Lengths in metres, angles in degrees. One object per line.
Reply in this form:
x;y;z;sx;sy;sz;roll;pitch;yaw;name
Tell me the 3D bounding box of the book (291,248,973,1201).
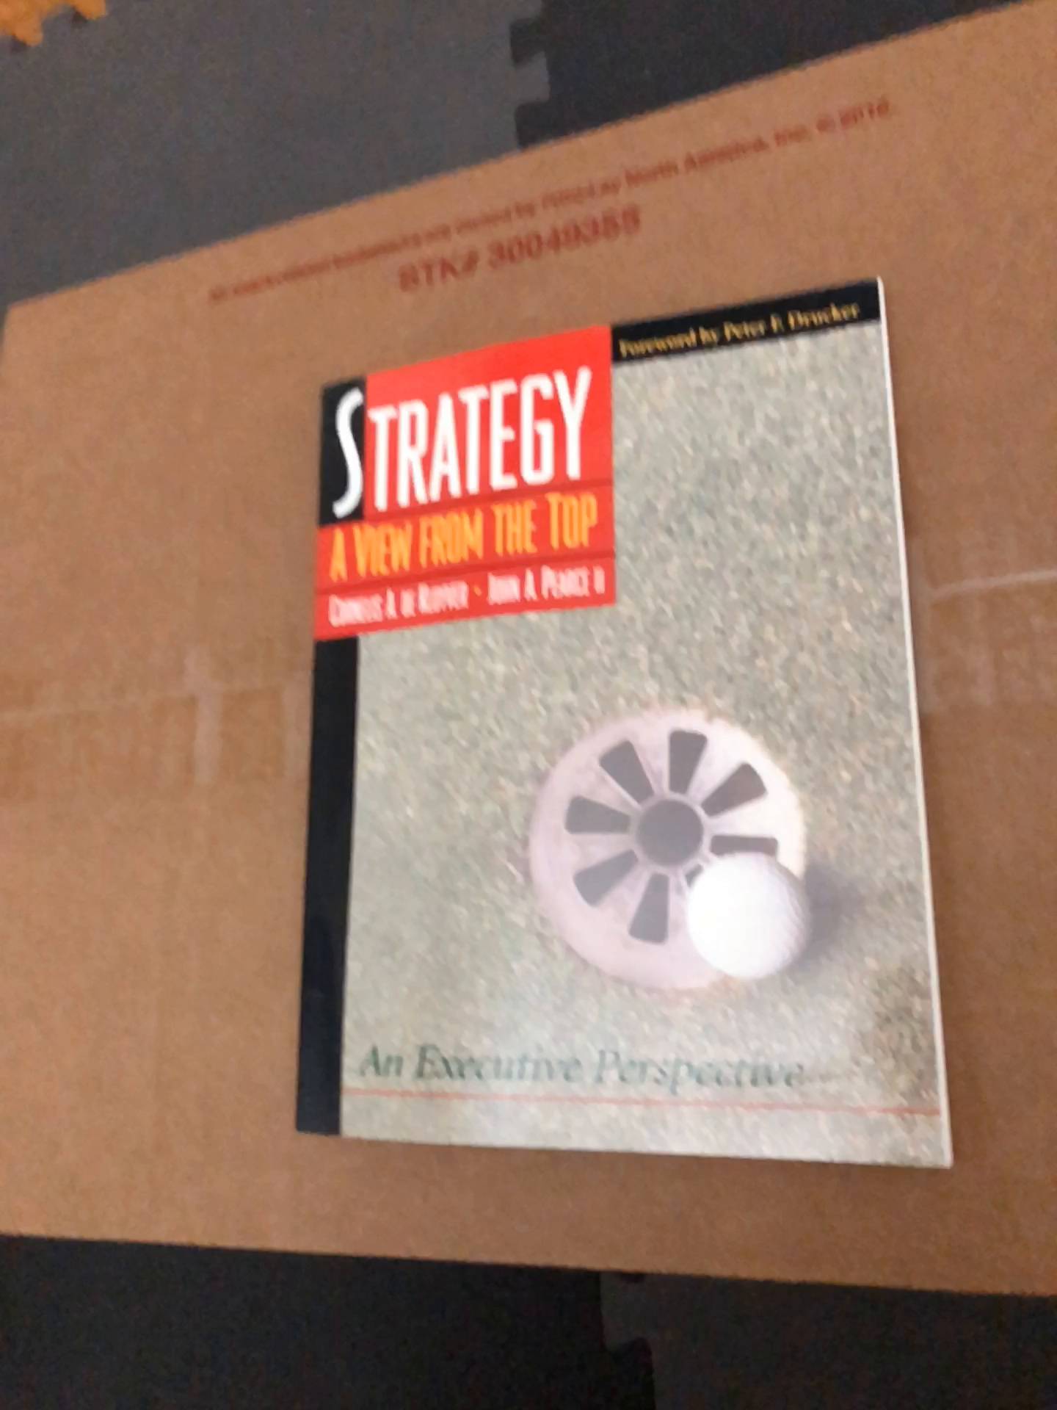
0.020;0.004;0.334;0.180;0.020;0.240;-5;77;22;book
